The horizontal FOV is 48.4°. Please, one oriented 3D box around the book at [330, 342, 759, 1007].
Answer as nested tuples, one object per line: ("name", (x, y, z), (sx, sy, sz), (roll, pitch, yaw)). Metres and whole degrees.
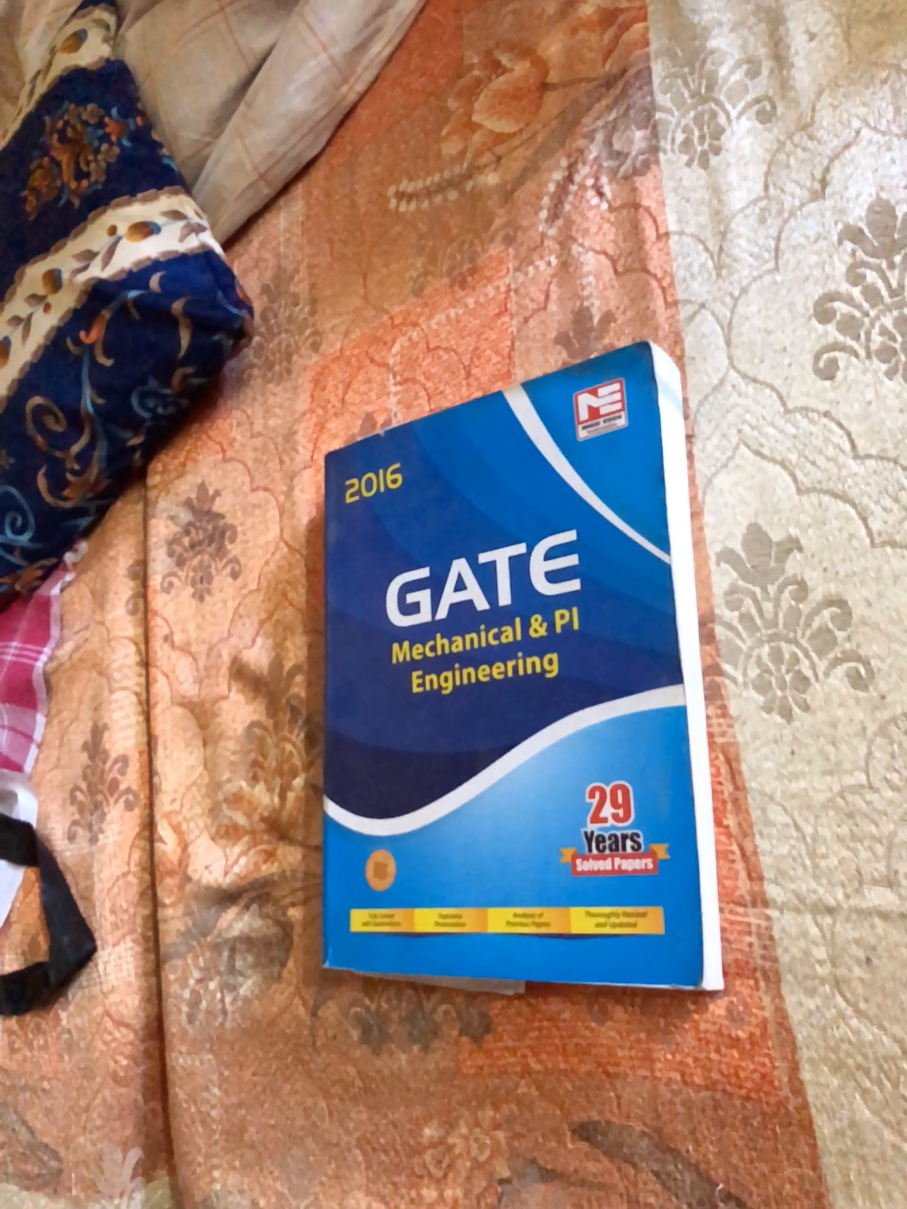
("book", (0.033, 0.038, 0.498), (0.201, 0.051, 0.280), (-11, 72, 36))
